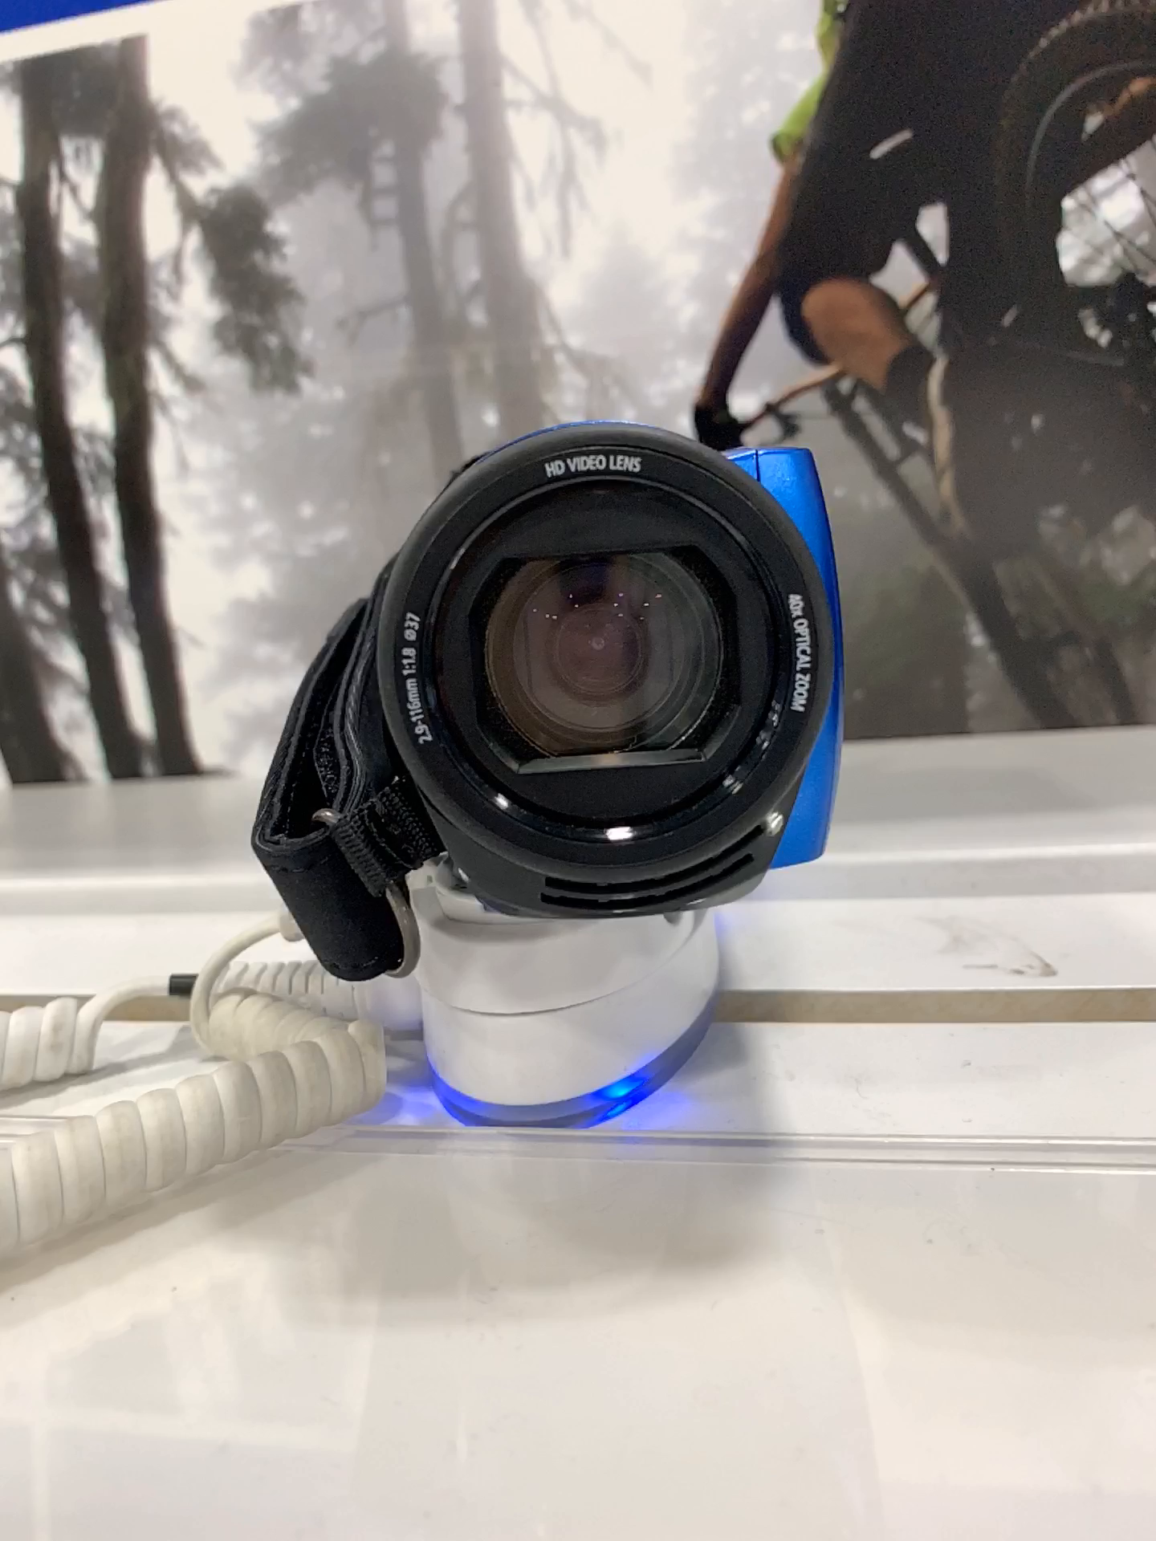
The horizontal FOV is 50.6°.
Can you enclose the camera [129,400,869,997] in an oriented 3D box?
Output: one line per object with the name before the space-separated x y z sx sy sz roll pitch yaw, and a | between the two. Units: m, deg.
camera | -0.006 -0.022 0.197 0.072 0.058 0.144 -4 13 1
